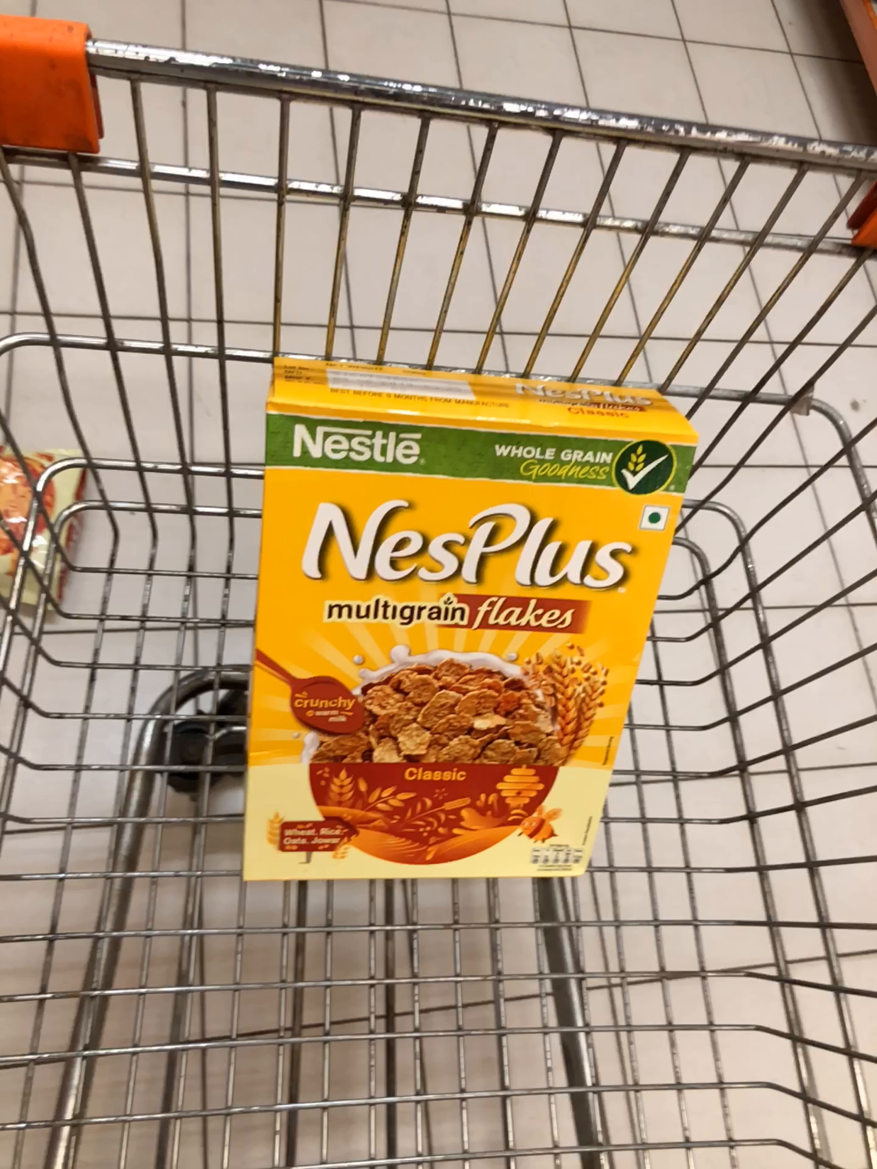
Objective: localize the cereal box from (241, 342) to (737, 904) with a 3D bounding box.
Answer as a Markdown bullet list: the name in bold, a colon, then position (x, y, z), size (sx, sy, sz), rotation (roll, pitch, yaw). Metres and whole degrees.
- **cereal box**: position (0.007, 0.026, 0.473), size (0.190, 0.249, 0.090), rotation (3, 26, -12)
